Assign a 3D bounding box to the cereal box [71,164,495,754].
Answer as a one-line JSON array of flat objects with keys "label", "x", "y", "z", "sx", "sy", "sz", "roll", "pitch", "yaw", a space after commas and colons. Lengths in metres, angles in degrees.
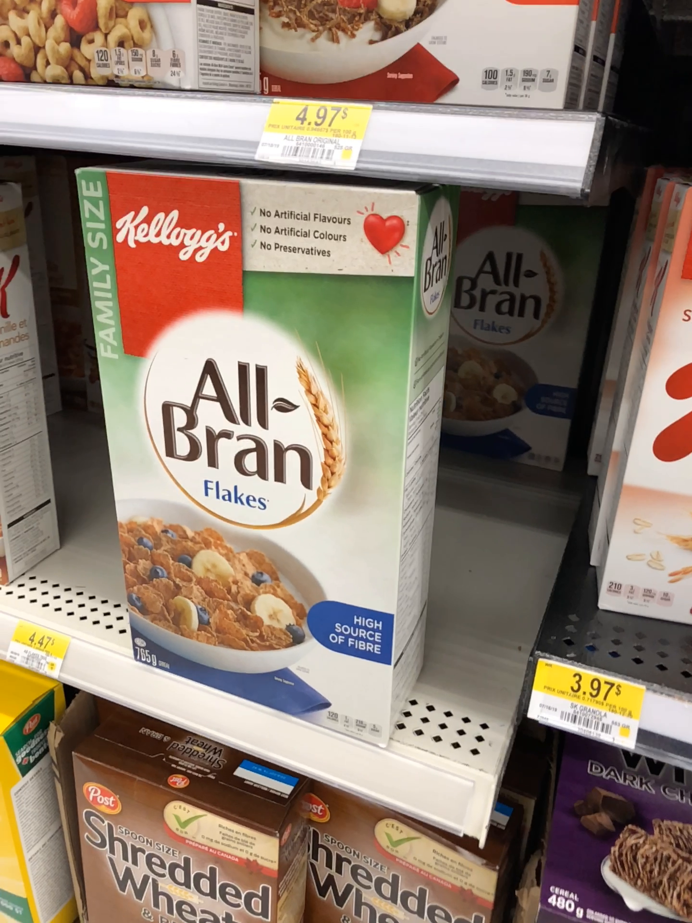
[{"label": "cereal box", "x": -0.040, "y": -0.004, "z": 0.468, "sx": 0.210, "sy": 0.318, "sz": 0.080, "roll": 12, "pitch": 26, "yaw": 20}]
